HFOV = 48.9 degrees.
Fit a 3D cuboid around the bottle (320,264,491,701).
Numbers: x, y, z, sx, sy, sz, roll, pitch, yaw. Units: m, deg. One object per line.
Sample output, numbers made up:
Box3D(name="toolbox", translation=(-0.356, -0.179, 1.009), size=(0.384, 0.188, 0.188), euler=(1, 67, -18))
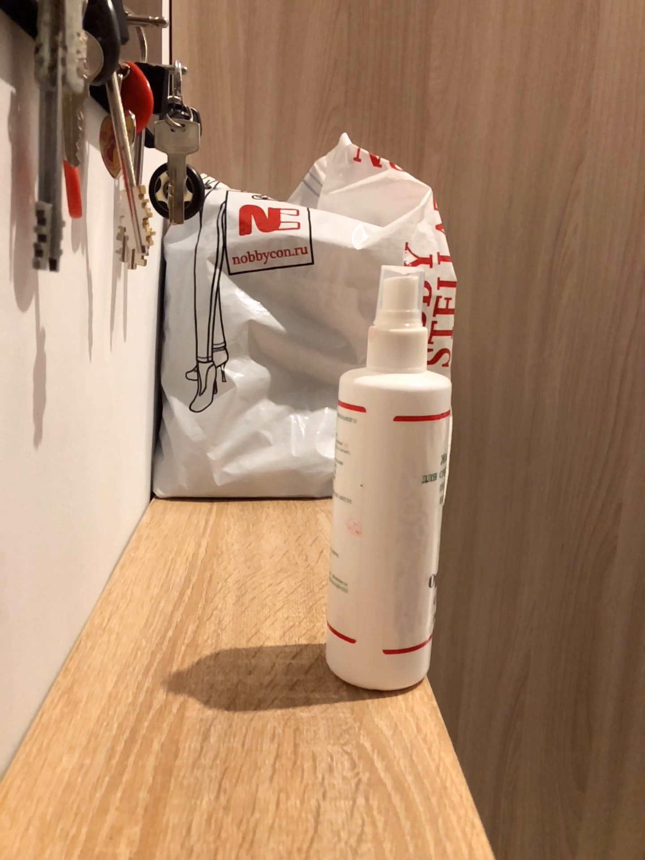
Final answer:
Box3D(name="bottle", translation=(0.033, 0.021, 0.319), size=(0.059, 0.183, 0.056), euler=(2, 11, 0))
